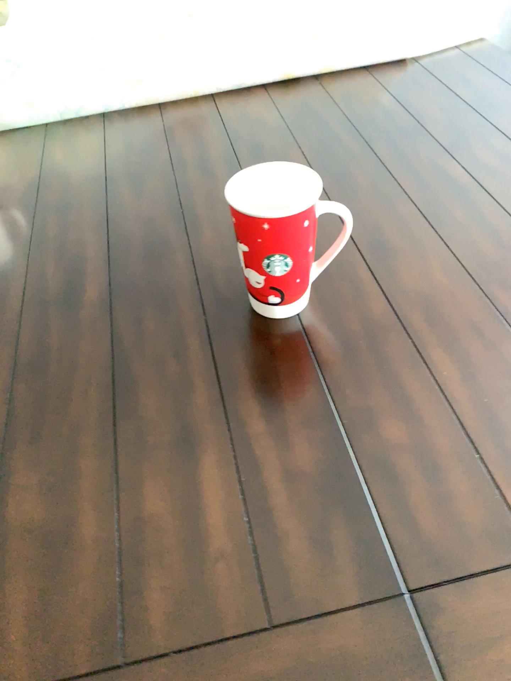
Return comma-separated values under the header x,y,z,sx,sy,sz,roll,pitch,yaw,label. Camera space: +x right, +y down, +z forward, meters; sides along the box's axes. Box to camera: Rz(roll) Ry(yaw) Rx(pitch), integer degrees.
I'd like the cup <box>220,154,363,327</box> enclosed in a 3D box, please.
x,y,z,sx,sy,sz,roll,pitch,yaw,label
0.038,-0.095,0.524,0.120,0.149,0.080,1,48,6,cup
